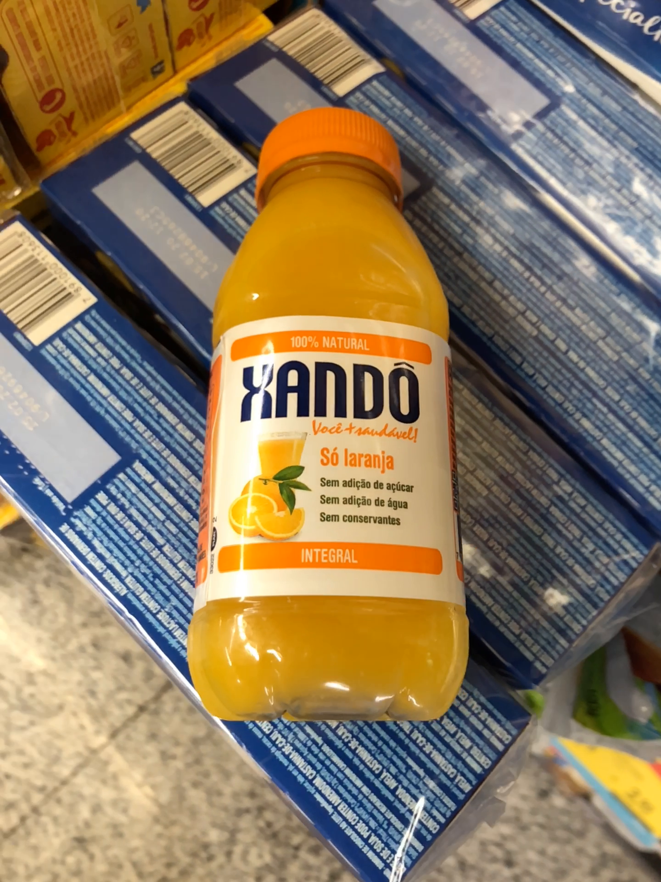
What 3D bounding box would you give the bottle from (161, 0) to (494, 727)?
[{"bbox_3d":[-0.004,-0.018,0.198,0.060,0.080,0.170,1,72,-5],"label":"bottle"}]
